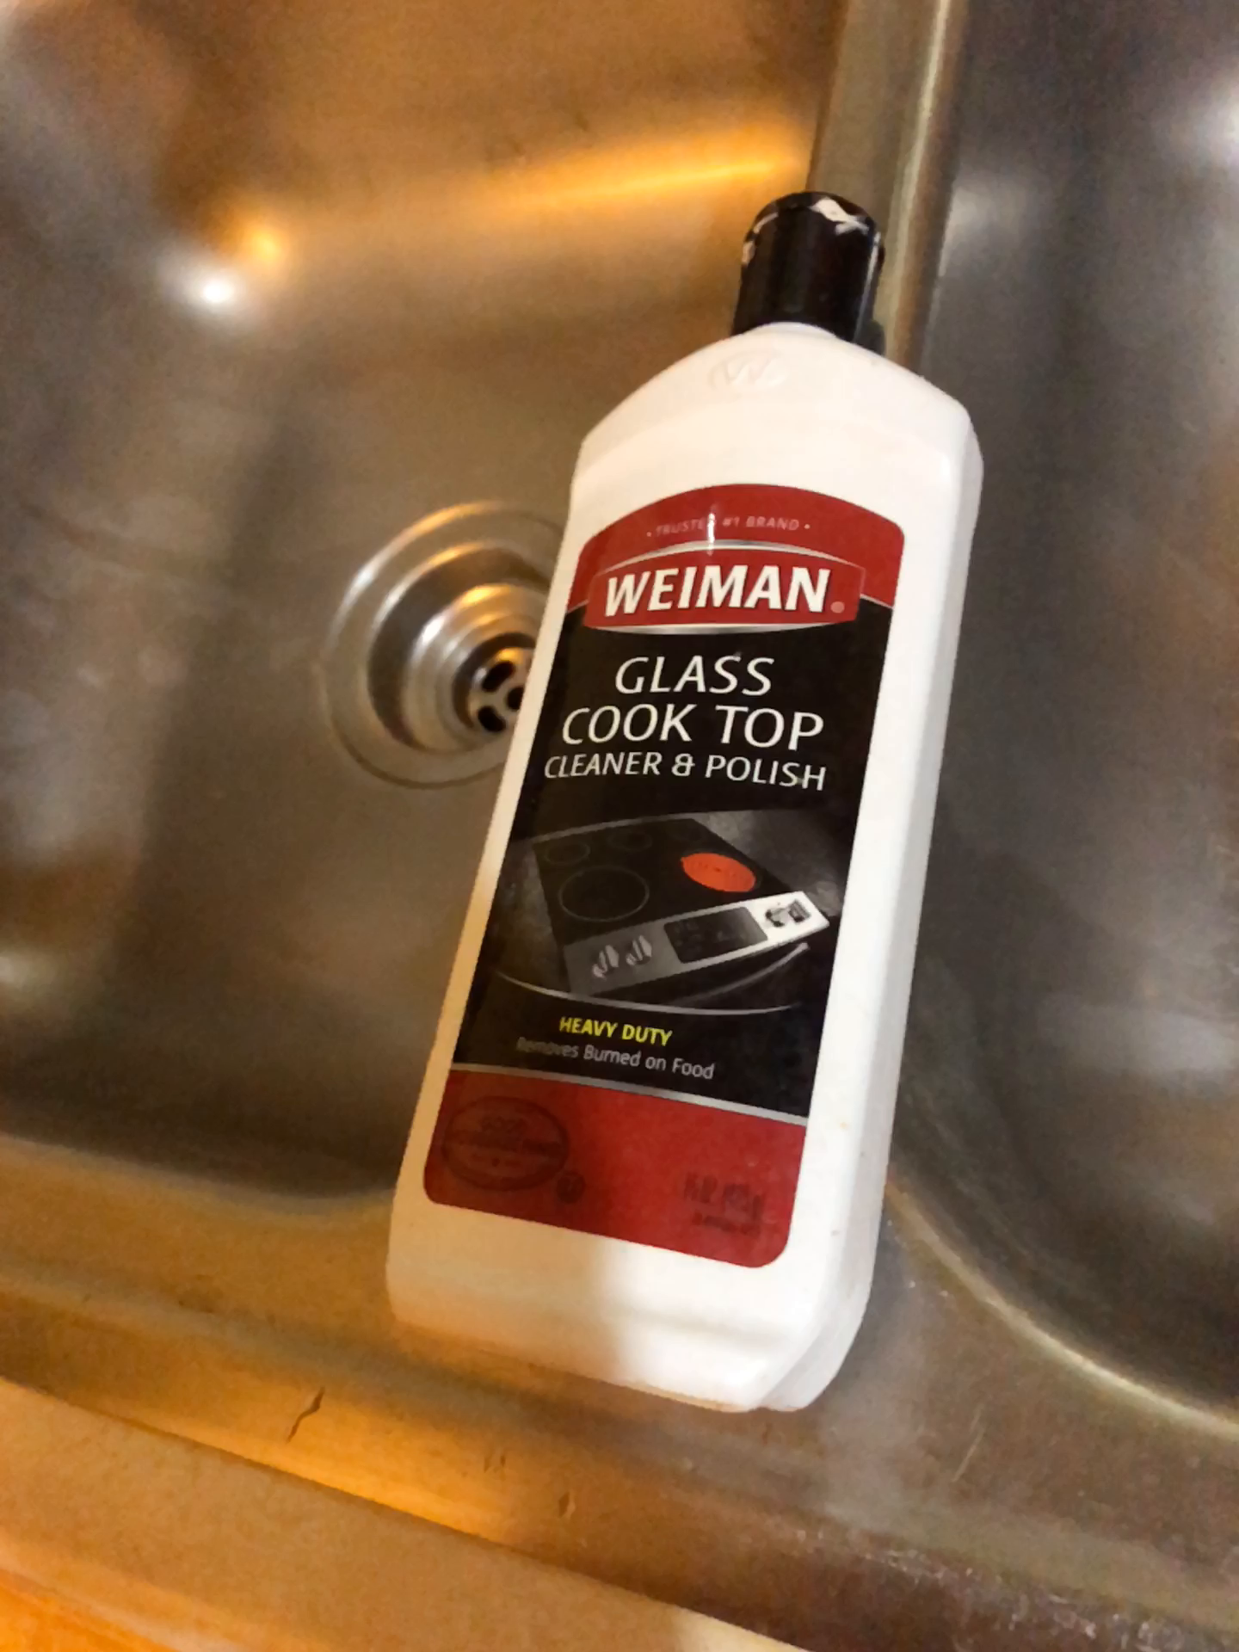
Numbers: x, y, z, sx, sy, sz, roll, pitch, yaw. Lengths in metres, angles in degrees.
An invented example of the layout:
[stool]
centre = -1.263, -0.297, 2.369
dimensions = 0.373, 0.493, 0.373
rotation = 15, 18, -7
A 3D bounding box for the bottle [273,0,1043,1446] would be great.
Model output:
[bottle]
centre = 0.018, -0.027, 0.248
dimensions = 0.080, 0.050, 0.240
rotation = 2, 70, 27
